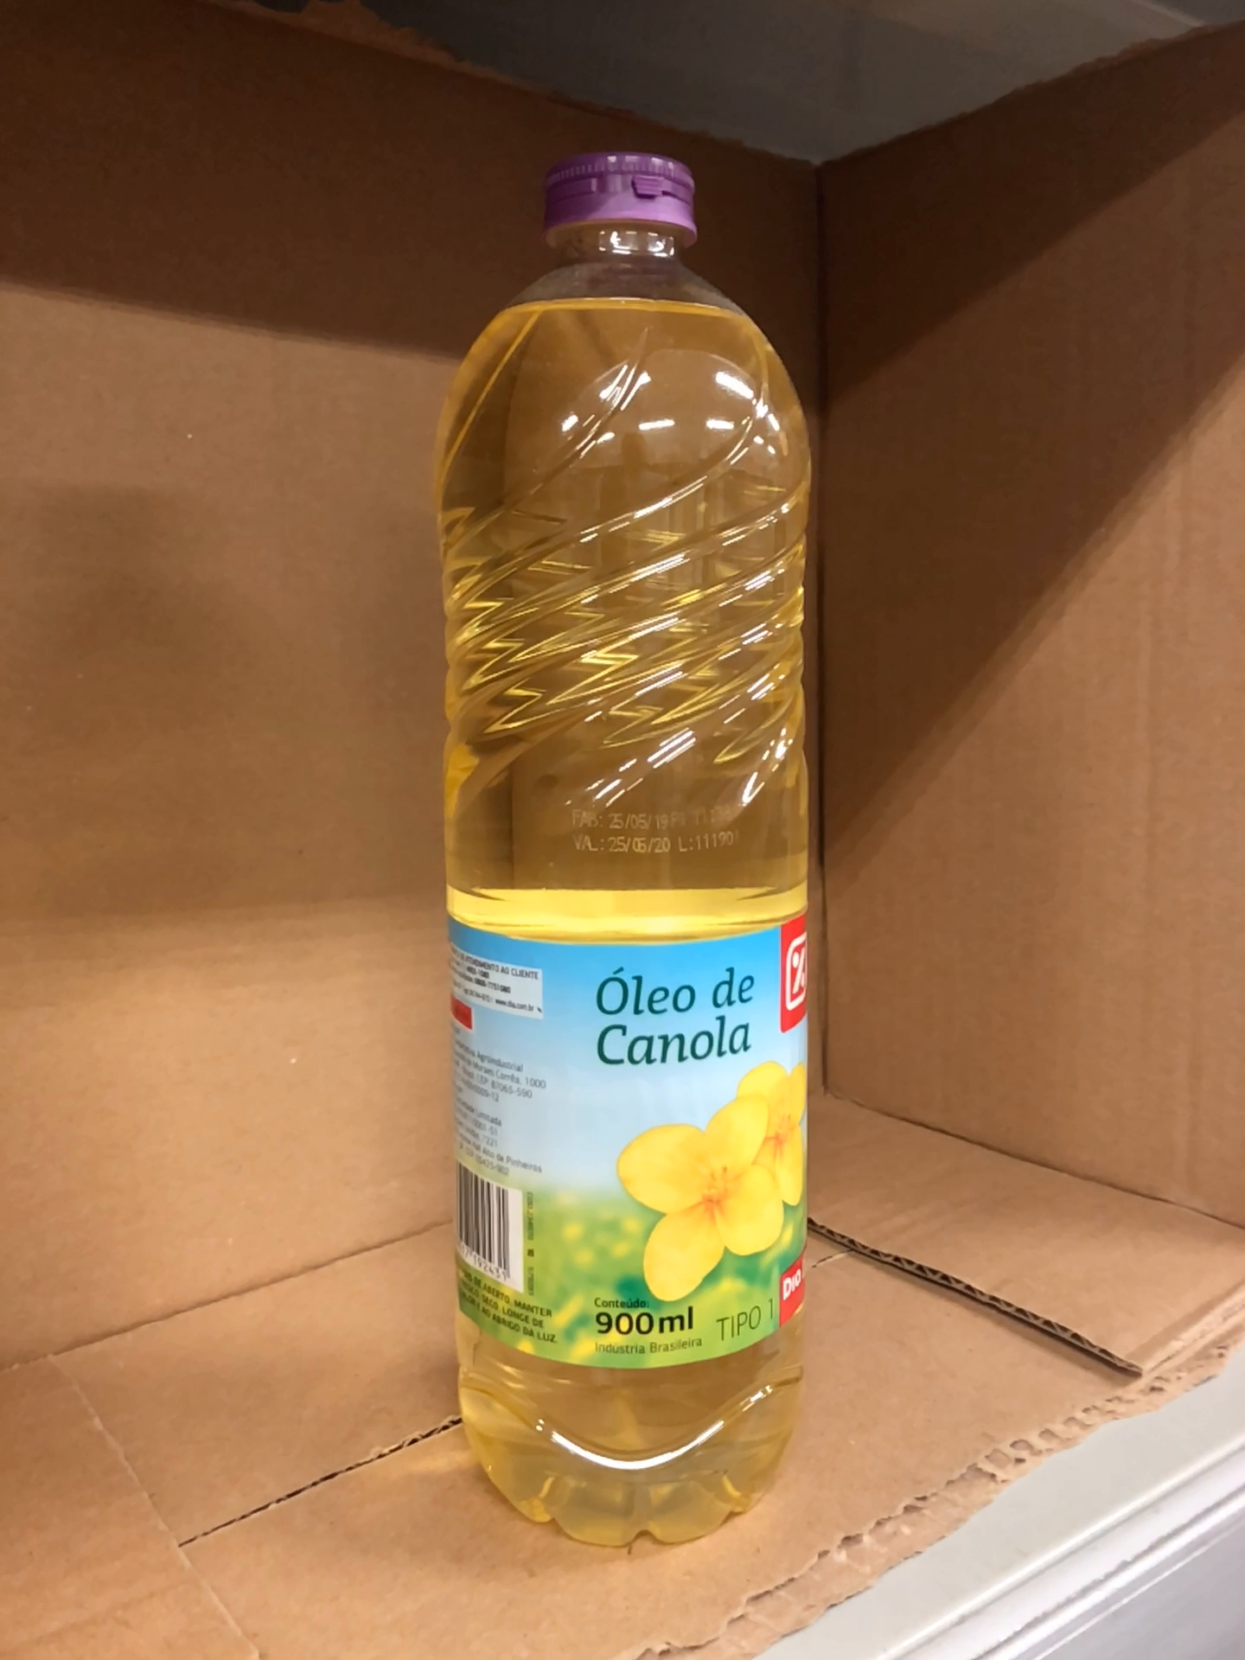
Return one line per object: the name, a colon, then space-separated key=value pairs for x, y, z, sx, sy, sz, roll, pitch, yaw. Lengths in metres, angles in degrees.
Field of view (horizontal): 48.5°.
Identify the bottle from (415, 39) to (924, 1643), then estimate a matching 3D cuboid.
bottle: x=0.007 y=0.006 z=0.273 sx=0.080 sy=0.269 sz=0.050 roll=-6 pitch=11 yaw=-39
